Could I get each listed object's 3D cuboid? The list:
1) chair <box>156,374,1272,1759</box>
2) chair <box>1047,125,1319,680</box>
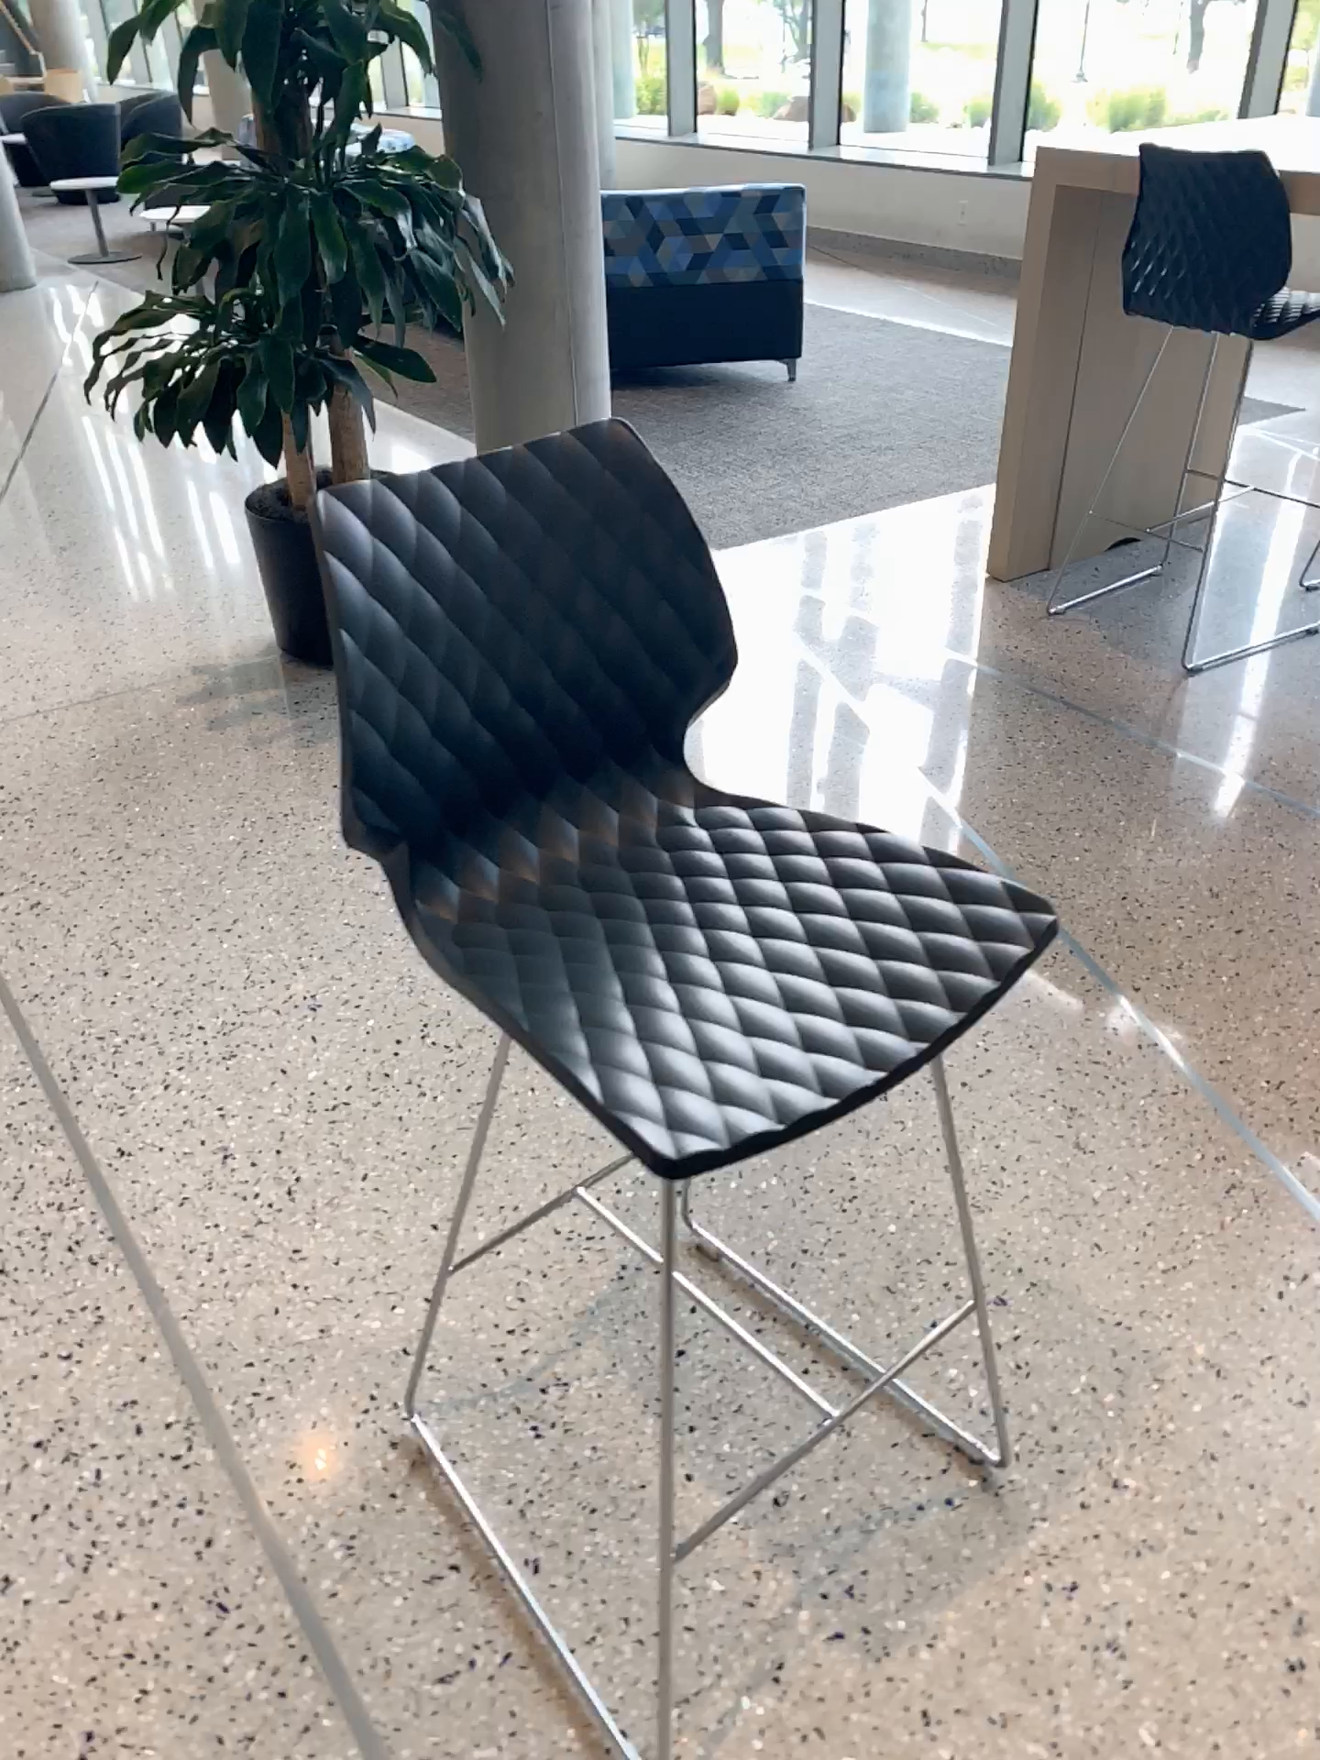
[{"bbox_3d":[0.032,0.186,1.193,0.533,1.048,0.549,-24,38,-30],"label":"chair"},{"bbox_3d":[1.342,-1.098,3.073,0.547,1.048,0.535,-18,36,-24],"label":"chair"}]
